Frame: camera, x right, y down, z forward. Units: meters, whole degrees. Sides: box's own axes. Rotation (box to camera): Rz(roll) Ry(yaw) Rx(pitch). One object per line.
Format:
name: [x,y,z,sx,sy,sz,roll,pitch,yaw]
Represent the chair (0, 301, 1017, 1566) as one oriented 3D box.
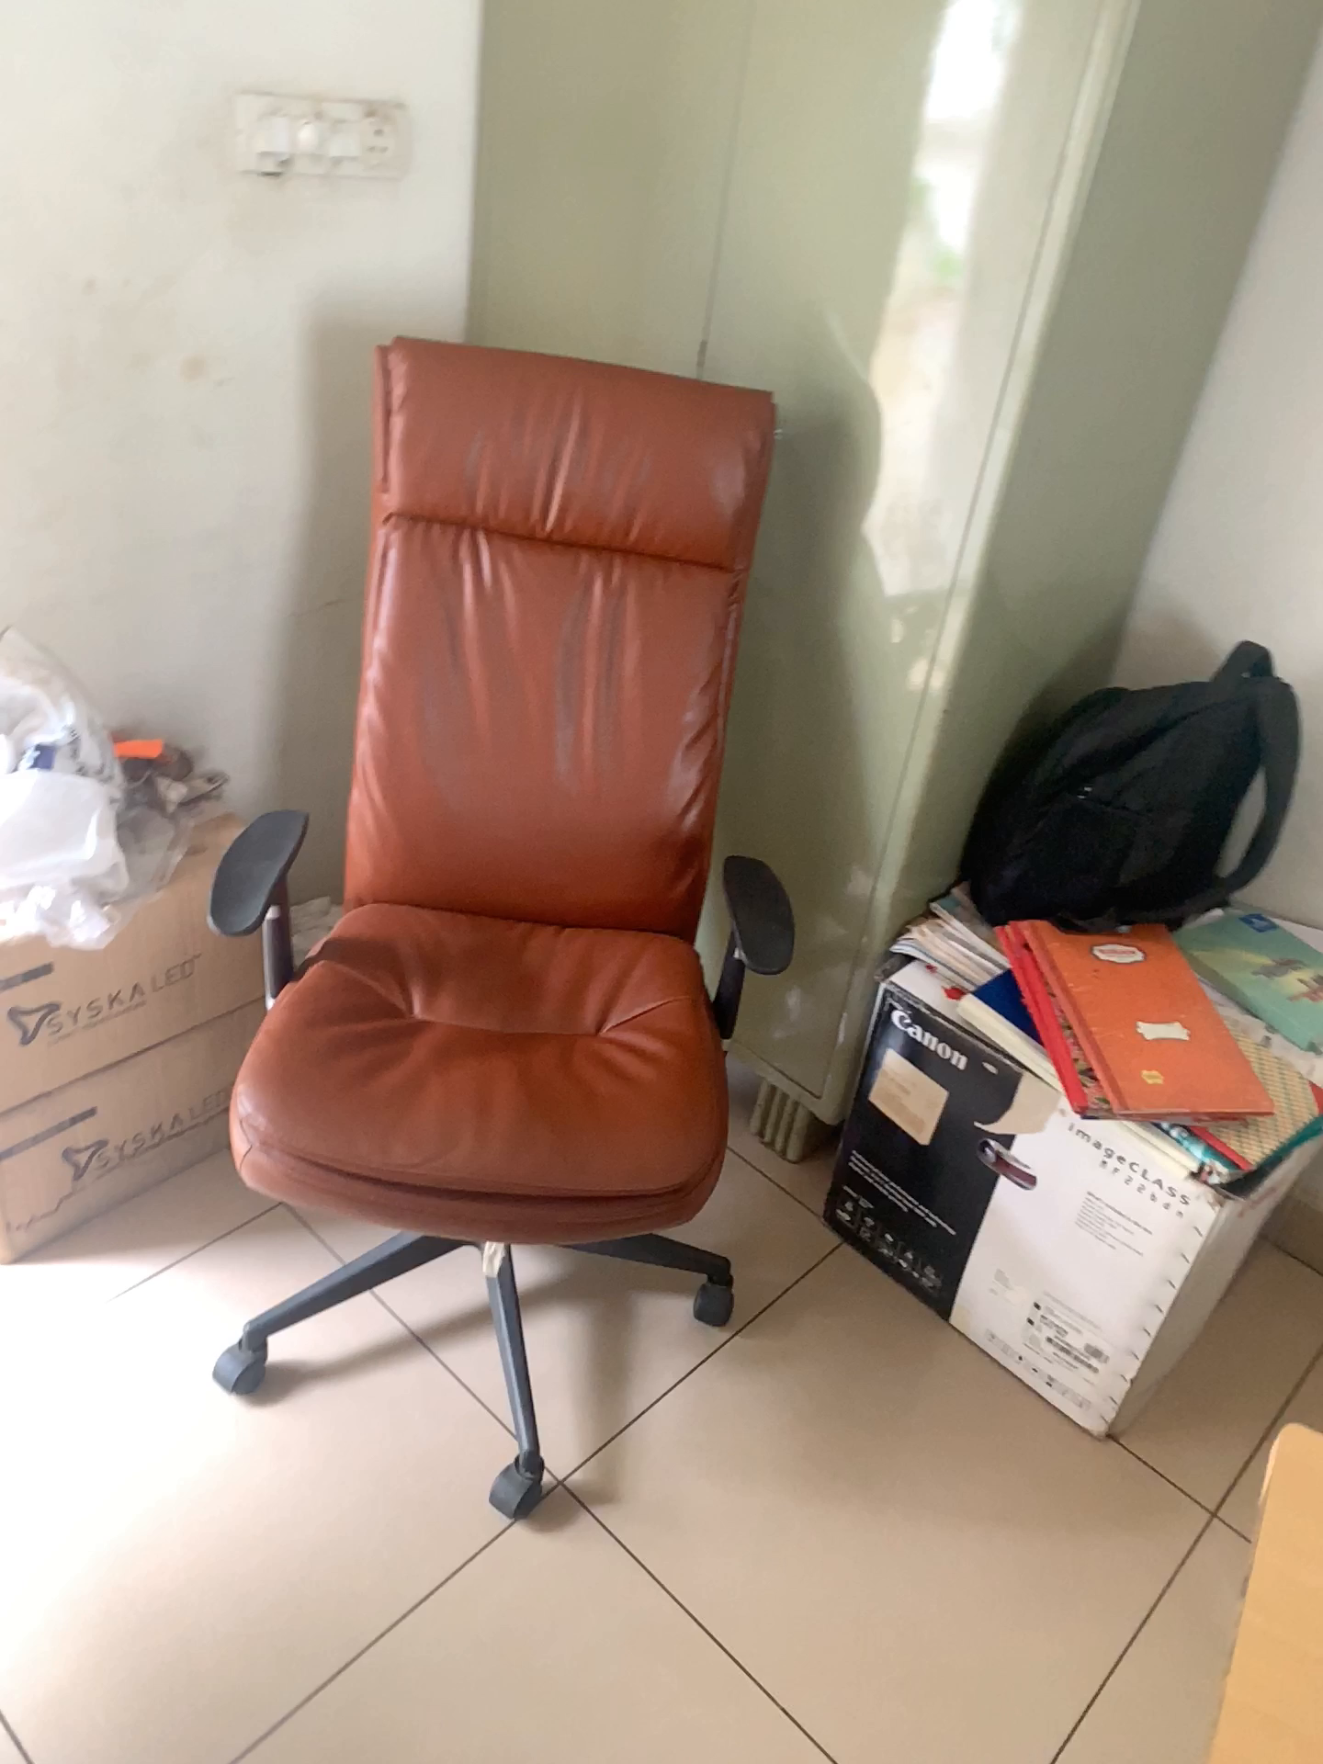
chair: [-0.158,0.025,1.590,0.690,1.085,0.934,7,33,-3]
